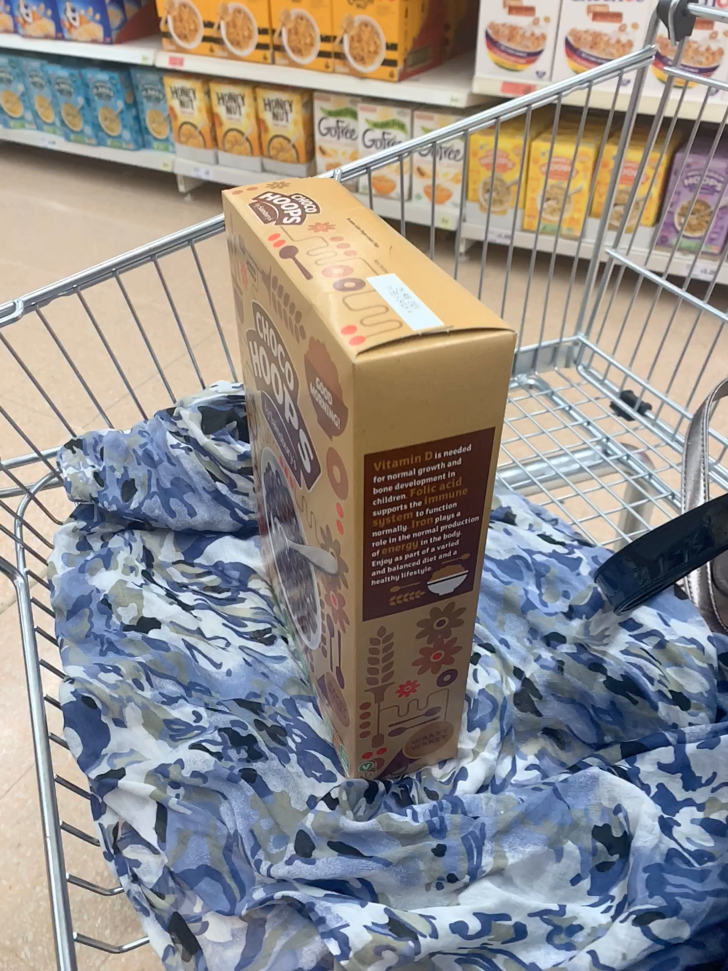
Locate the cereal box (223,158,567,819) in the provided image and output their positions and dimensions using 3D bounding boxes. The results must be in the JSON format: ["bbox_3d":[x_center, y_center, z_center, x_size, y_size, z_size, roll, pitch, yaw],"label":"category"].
[{"bbox_3d":[-0.005,0.004,0.427,0.070,0.297,0.222,-14,42,-17],"label":"cereal box"}]
